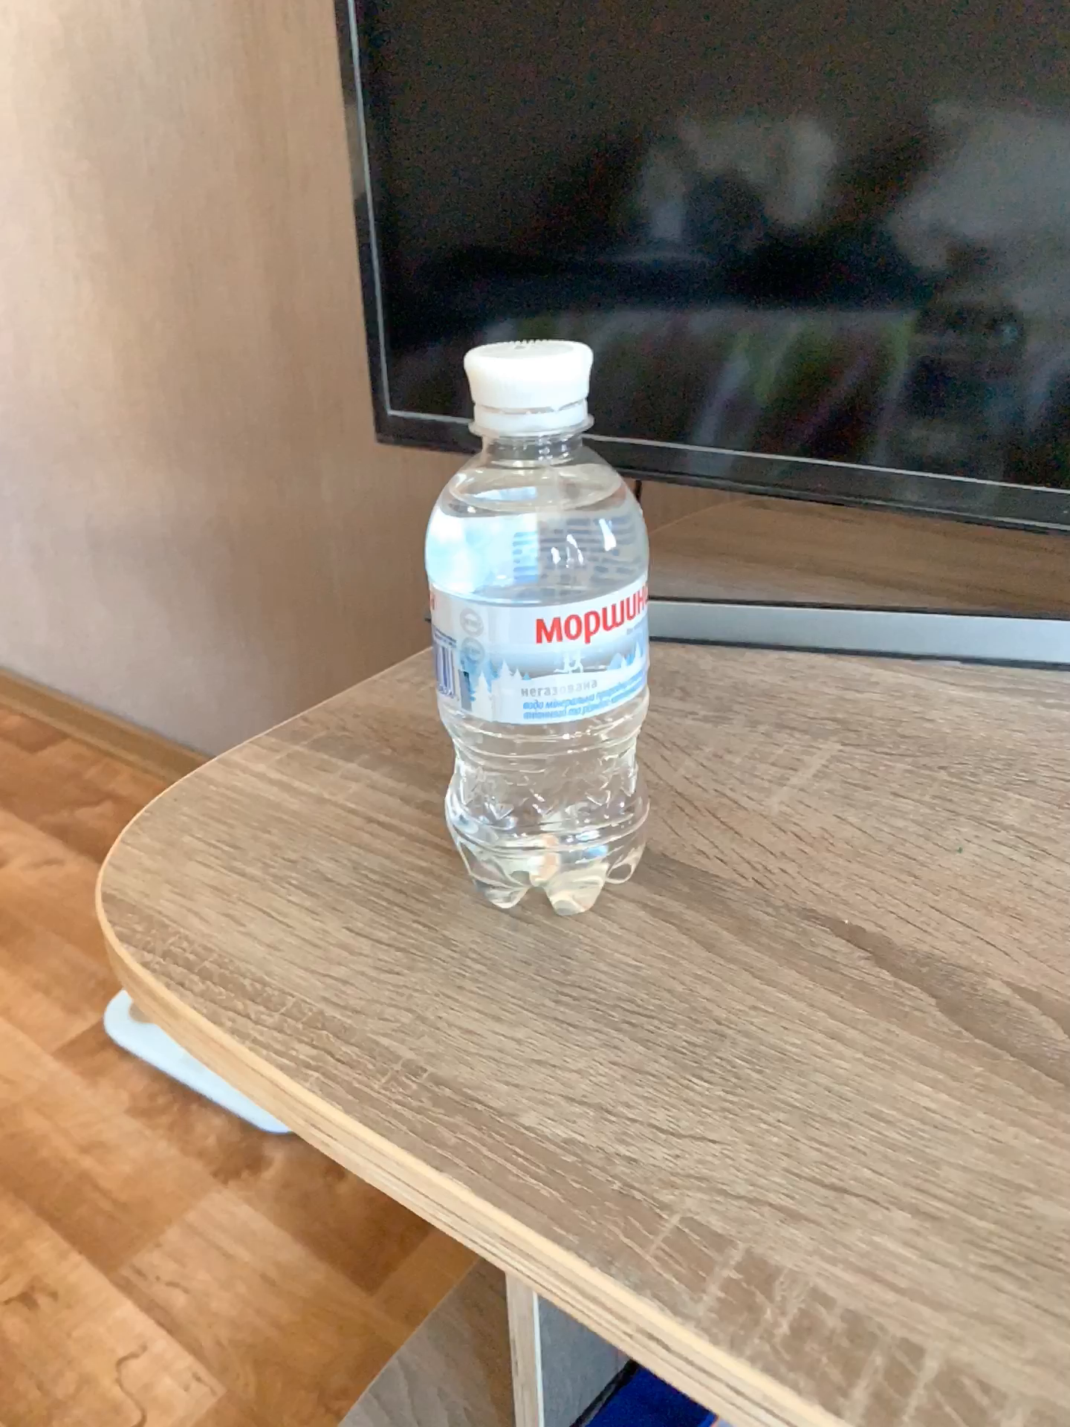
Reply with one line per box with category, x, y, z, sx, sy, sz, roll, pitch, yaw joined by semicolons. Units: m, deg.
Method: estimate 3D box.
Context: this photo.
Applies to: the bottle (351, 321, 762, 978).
bottle;0.008;-0.021;0.297;0.070;0.149;0.070;-1;26;1
